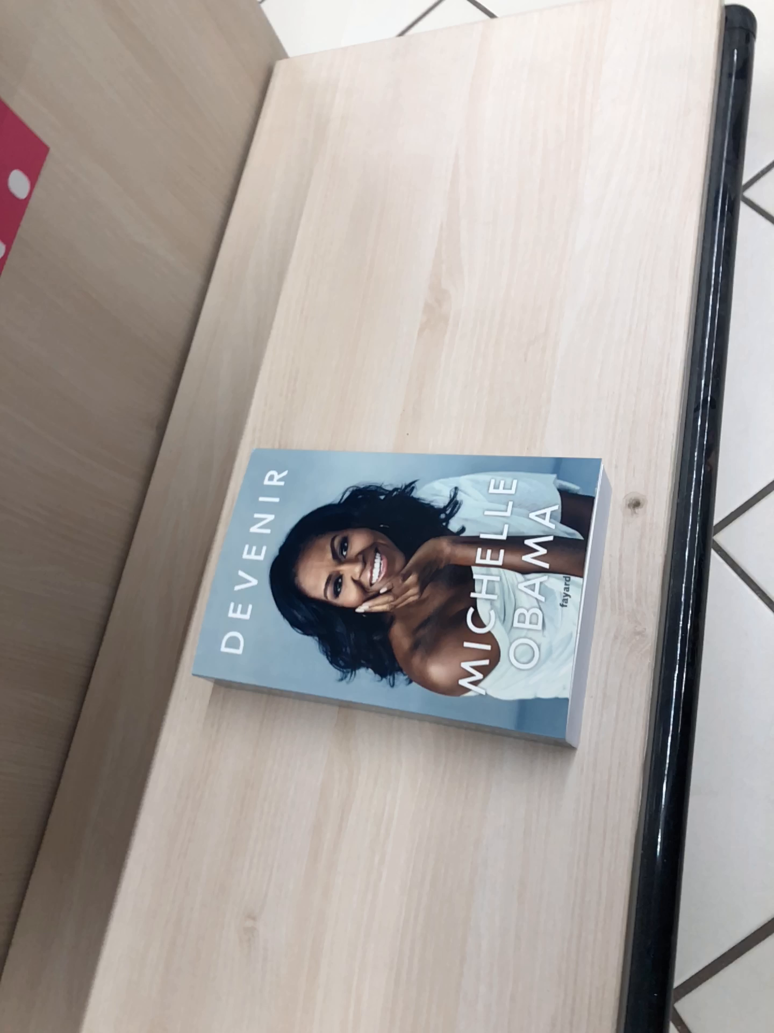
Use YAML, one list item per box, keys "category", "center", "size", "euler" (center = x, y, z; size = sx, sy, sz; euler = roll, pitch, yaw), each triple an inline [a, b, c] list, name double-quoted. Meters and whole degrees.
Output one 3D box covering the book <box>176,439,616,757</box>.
- category: "book"
  center: [0.004, 0.039, 0.516]
  size: [0.240, 0.040, 0.163]
  euler: [4, 70, 23]
